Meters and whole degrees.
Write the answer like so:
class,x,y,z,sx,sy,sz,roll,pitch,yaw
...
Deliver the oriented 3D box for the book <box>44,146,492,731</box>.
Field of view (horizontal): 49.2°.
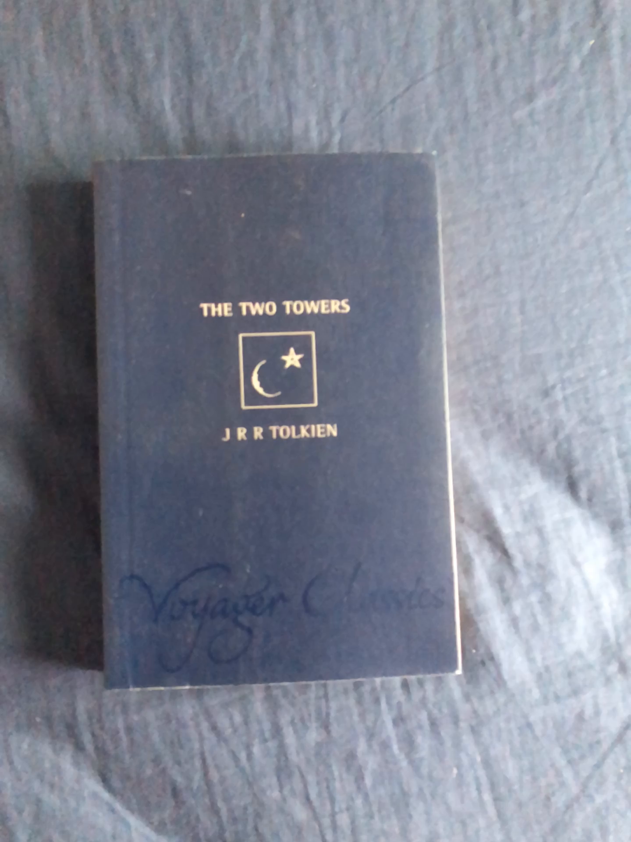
class,x,y,z,sx,sy,sz,roll,pitch,yaw
book,-0.018,0.003,0.264,0.140,0.060,0.190,-4,87,-5
